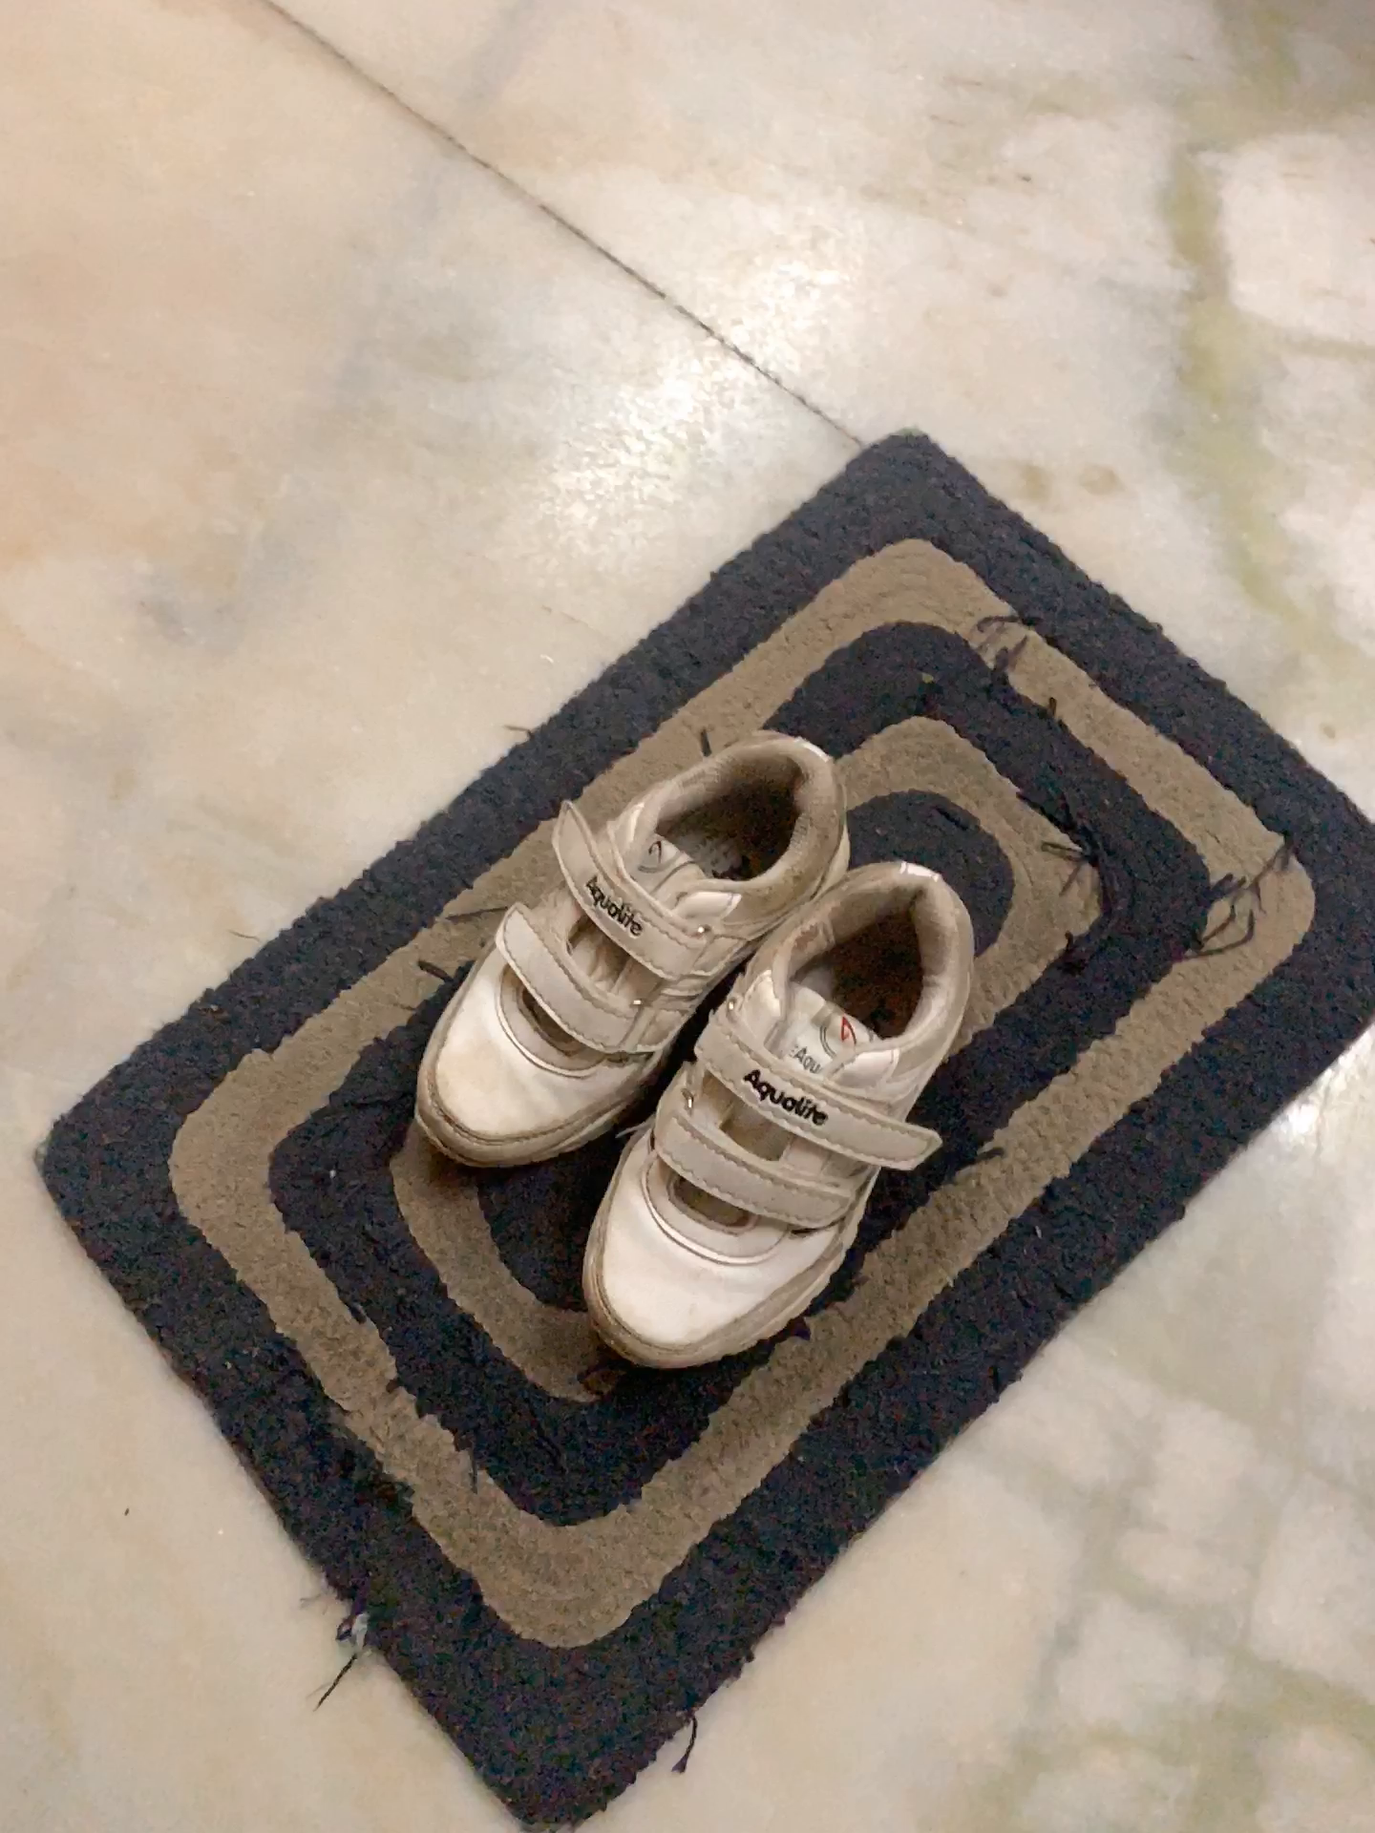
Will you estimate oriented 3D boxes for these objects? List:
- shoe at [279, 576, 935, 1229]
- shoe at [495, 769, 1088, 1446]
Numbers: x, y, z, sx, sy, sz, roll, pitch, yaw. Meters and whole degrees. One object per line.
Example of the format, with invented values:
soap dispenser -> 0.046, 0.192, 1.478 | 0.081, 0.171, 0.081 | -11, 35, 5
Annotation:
shoe -> -0.020, -0.001, 0.471 | 0.080, 0.090, 0.200 | 43, 79, 15
shoe -> 0.035, 0.063, 0.460 | 0.080, 0.090, 0.190 | 34, 77, 13
